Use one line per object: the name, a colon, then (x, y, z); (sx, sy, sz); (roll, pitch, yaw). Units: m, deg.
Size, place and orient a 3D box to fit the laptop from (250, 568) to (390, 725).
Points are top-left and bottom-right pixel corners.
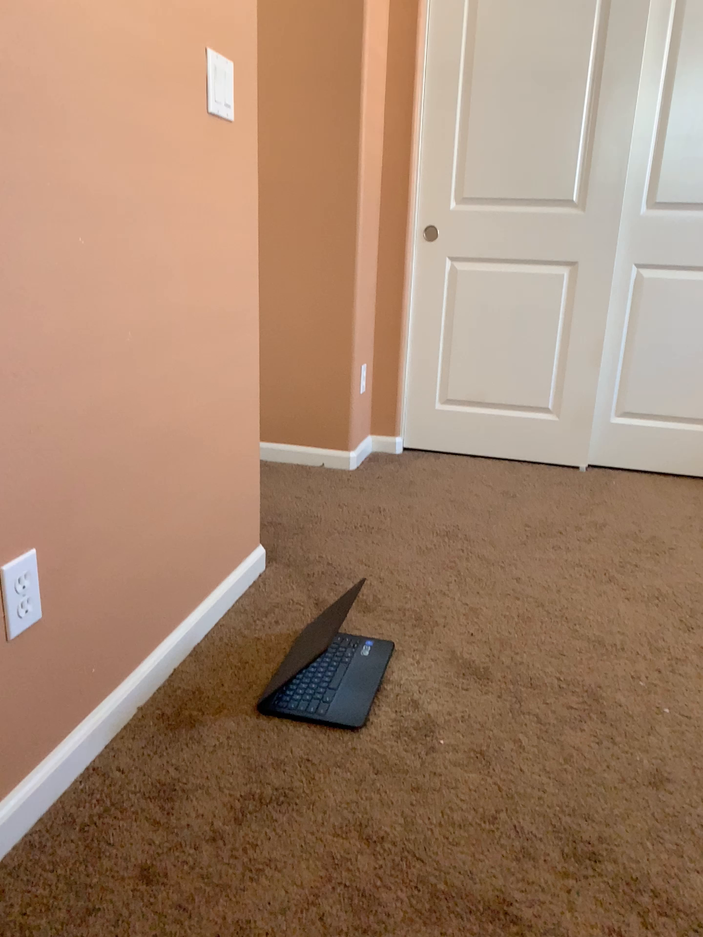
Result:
laptop: (-0.052, 0.333, 1.401); (0.191, 0.140, 0.293); (8, 18, 13)
